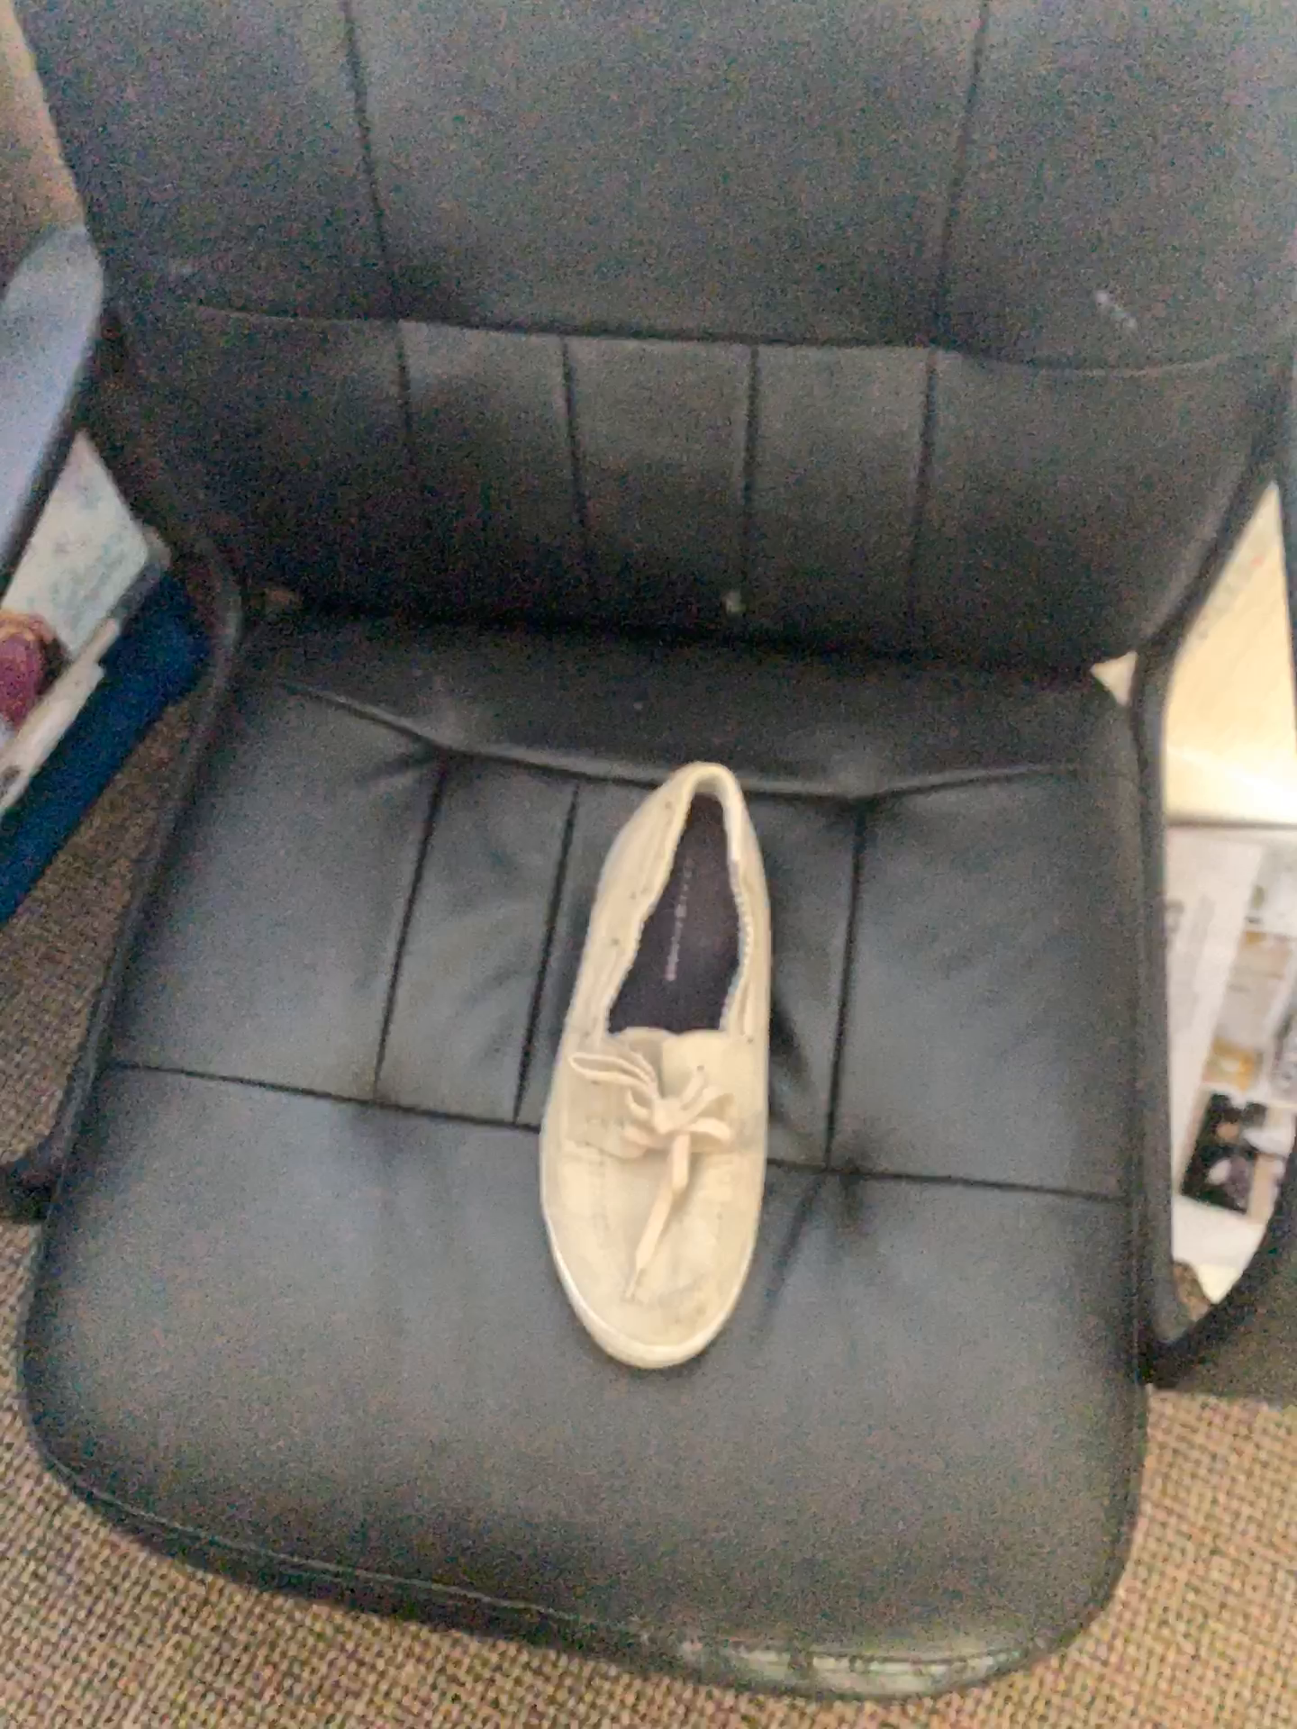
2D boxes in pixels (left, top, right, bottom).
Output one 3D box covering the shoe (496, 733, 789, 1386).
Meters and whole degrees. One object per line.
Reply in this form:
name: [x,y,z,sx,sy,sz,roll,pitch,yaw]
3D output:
shoe: [0.005,0.079,0.594,0.100,0.070,0.271,4,65,4]
